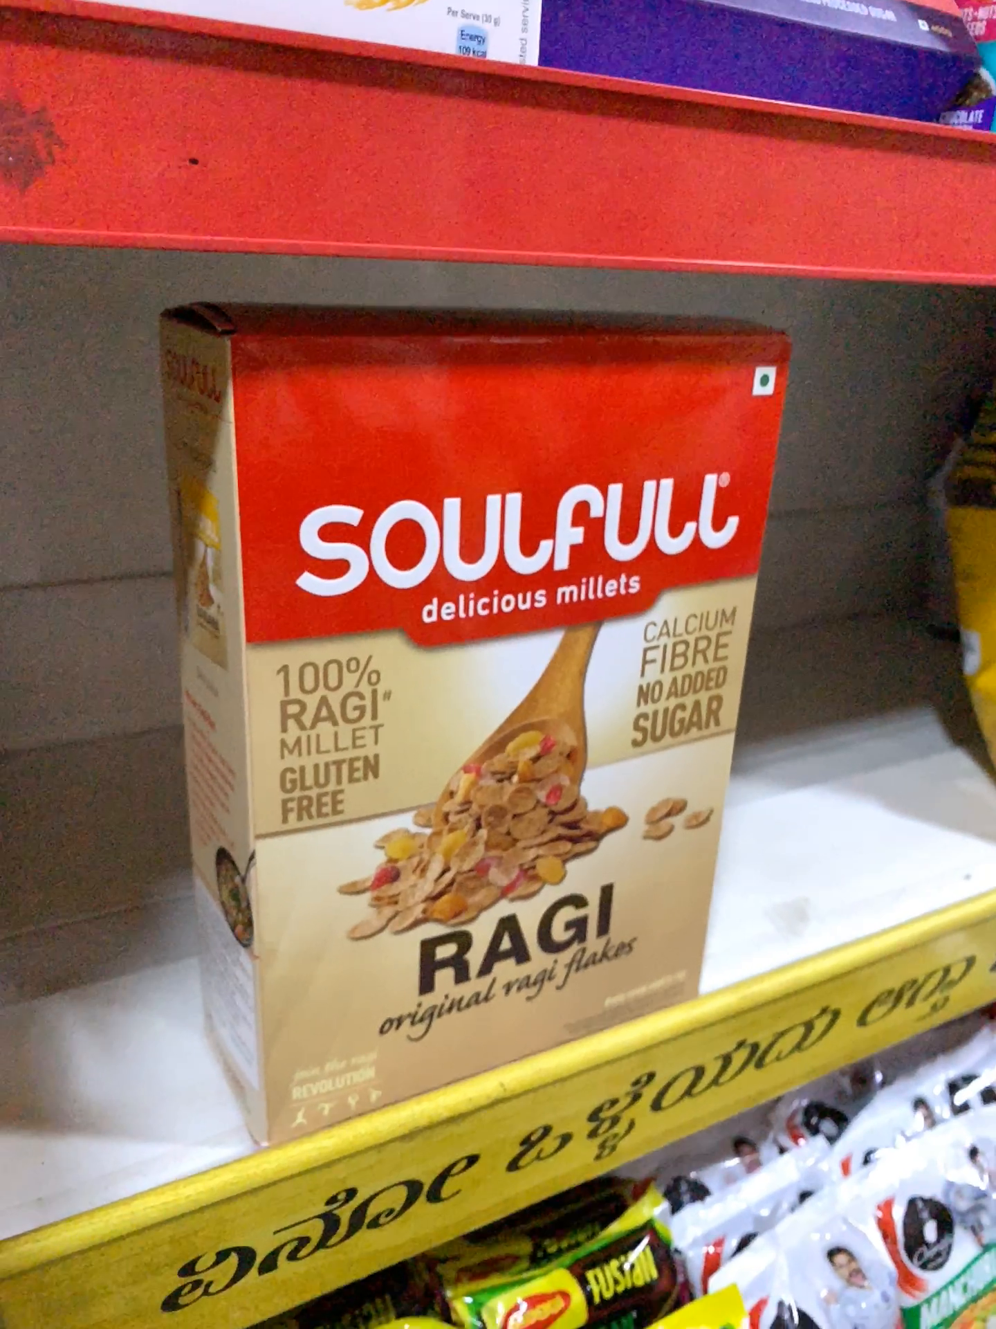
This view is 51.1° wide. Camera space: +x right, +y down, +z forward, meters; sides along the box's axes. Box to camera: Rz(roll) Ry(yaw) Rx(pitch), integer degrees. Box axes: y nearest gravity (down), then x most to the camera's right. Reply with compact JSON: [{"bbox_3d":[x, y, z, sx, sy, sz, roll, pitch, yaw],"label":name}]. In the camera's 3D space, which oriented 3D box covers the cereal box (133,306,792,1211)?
[{"bbox_3d":[-0.011,0.022,0.327,0.170,0.248,0.060,-10,25,-29],"label":"cereal box"}]
